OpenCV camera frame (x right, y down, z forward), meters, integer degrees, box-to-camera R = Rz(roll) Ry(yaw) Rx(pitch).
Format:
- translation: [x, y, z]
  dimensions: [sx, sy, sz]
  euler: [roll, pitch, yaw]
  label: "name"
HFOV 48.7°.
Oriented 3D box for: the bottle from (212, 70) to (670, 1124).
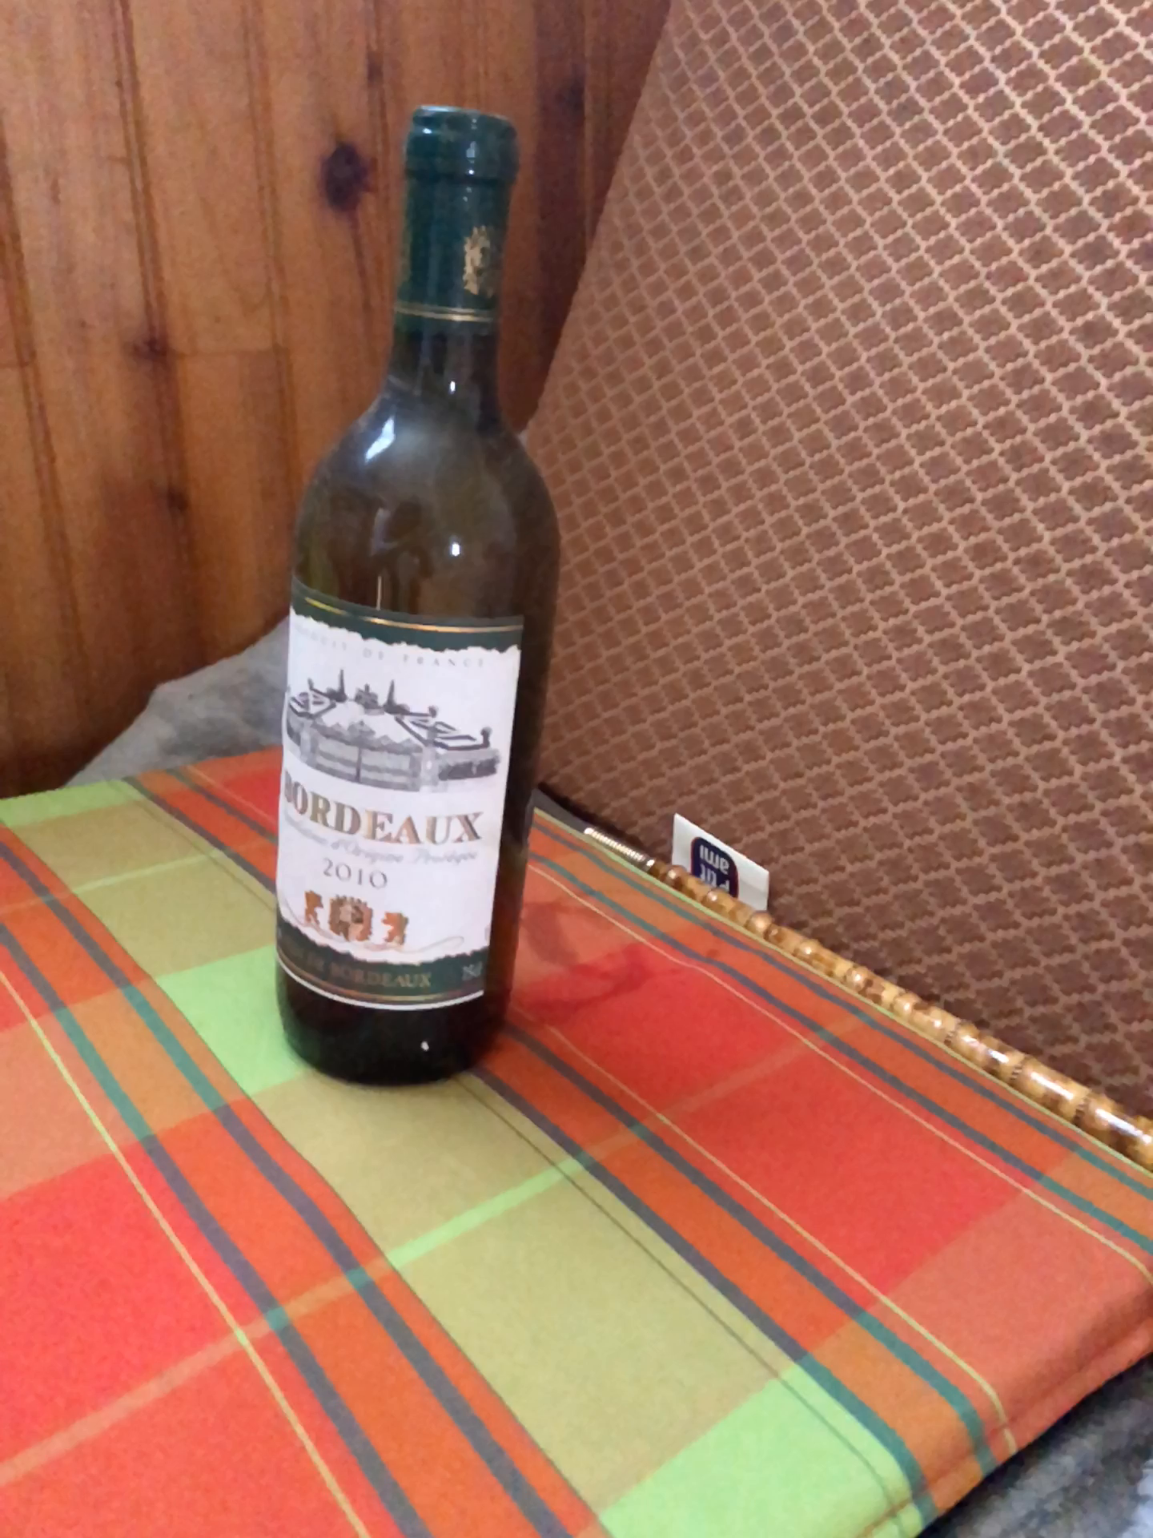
- translation: [-0.044, -0.044, 0.373]
  dimensions: [0.080, 0.269, 0.080]
  euler: [7, 19, -2]
  label: "bottle"
